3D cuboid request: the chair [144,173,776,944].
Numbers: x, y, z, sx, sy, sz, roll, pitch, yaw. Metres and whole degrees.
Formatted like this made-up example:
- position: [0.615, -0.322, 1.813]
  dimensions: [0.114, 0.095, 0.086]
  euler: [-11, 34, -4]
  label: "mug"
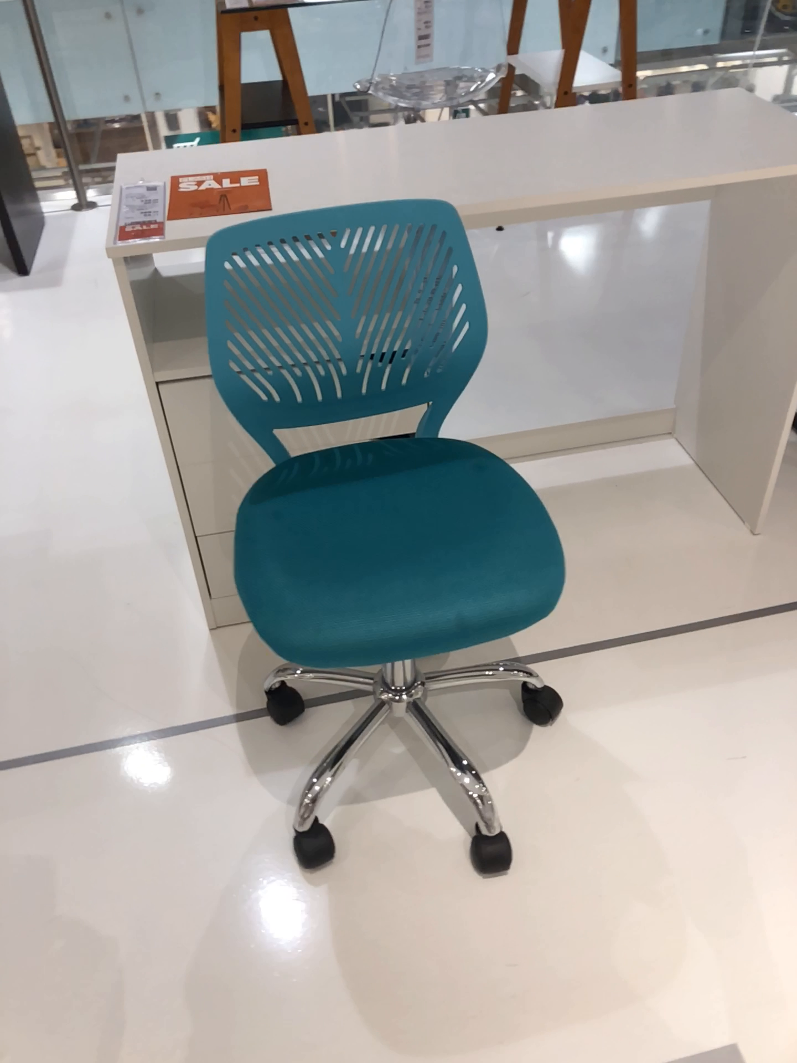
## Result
- position: [0.022, 0.028, 1.089]
  dimensions: [0.500, 0.724, 0.504]
  euler: [-11, 39, -10]
  label: "chair"
